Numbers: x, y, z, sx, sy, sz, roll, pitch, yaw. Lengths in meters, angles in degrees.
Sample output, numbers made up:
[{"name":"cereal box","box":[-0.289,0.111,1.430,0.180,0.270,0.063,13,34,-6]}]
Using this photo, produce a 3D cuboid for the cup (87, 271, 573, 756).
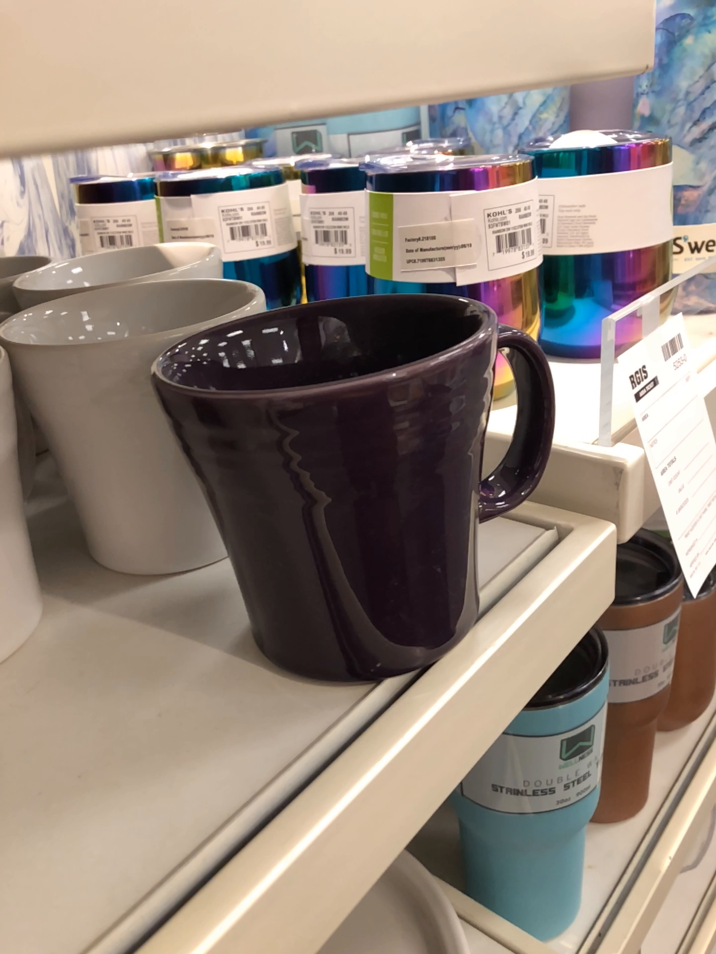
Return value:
[{"name":"cup","box":[0.000,-0.002,0.267,0.090,0.099,0.127,15,33,36]}]
